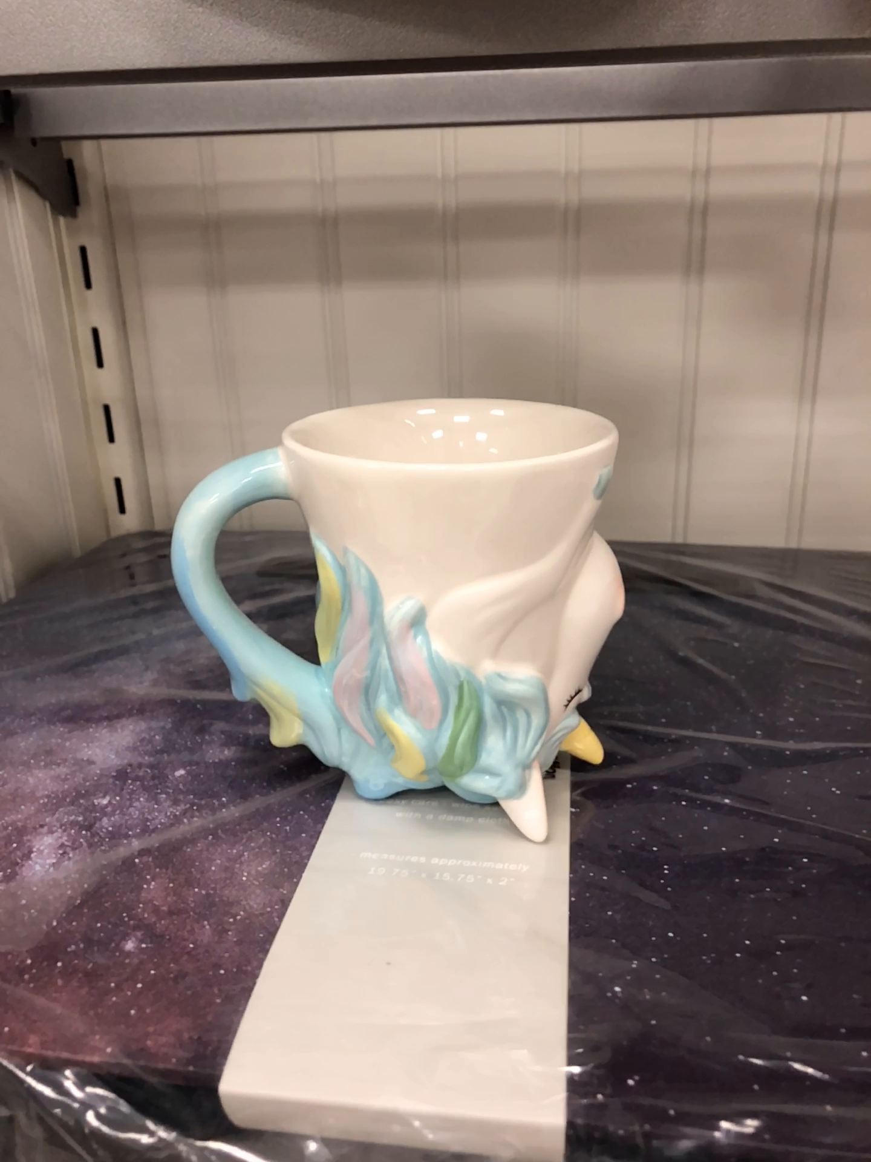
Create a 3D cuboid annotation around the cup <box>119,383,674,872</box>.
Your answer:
[{"bbox_3d":[-0.010,0.008,0.311,0.140,0.118,0.101,-3,21,-3],"label":"cup"}]
